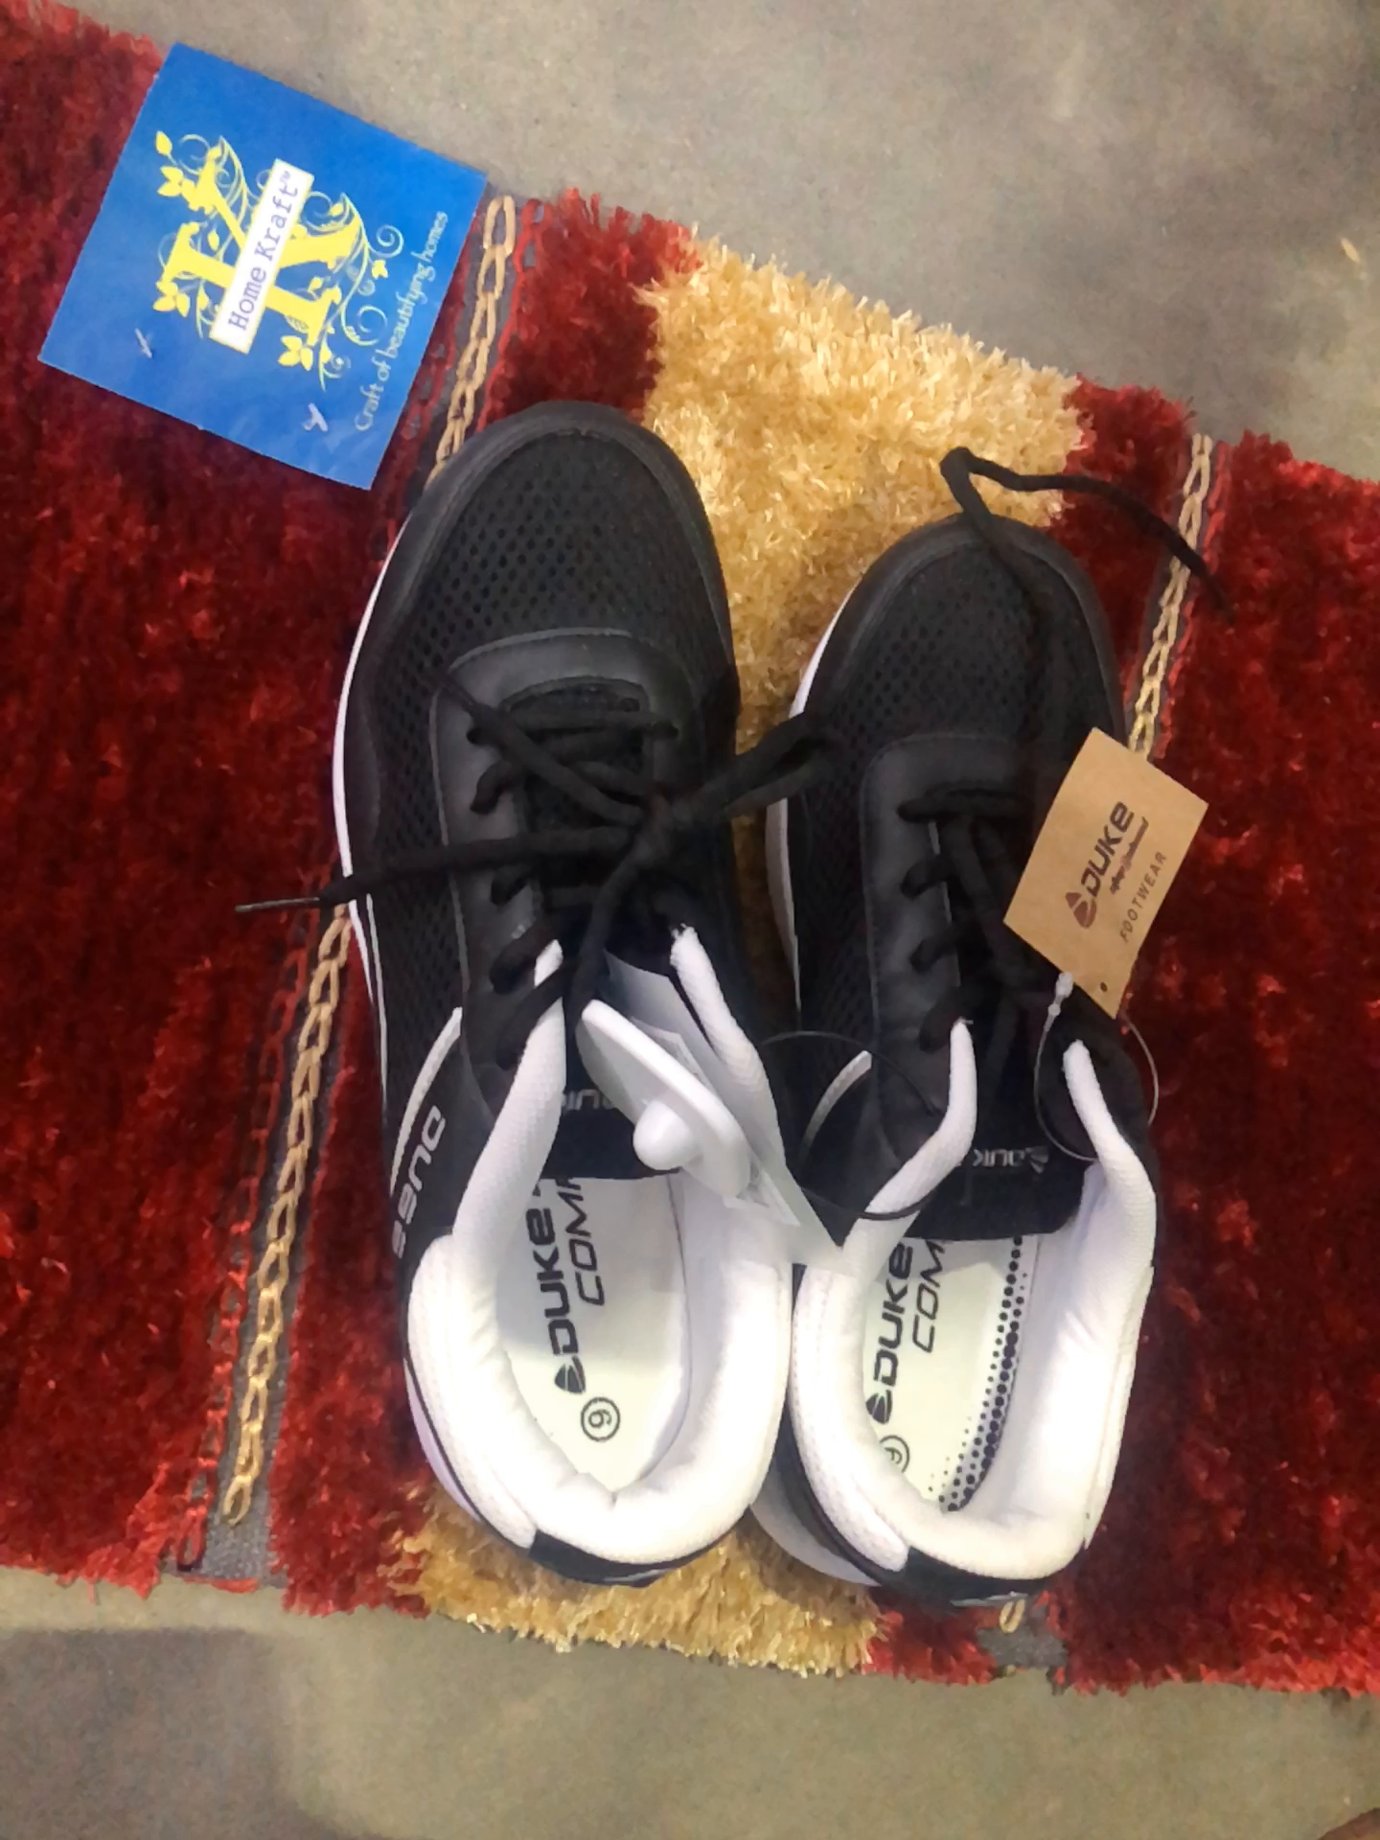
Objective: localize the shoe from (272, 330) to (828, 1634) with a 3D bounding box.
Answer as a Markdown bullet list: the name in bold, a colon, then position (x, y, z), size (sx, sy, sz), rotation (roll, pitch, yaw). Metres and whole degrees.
- **shoe**: position (-0.035, 0.010, 0.328), size (0.100, 0.070, 0.240), rotation (-1, 86, -16)

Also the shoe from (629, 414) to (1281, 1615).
- **shoe**: position (0.063, 0.023, 0.368), size (0.110, 0.070, 0.250), rotation (9, 84, -15)
